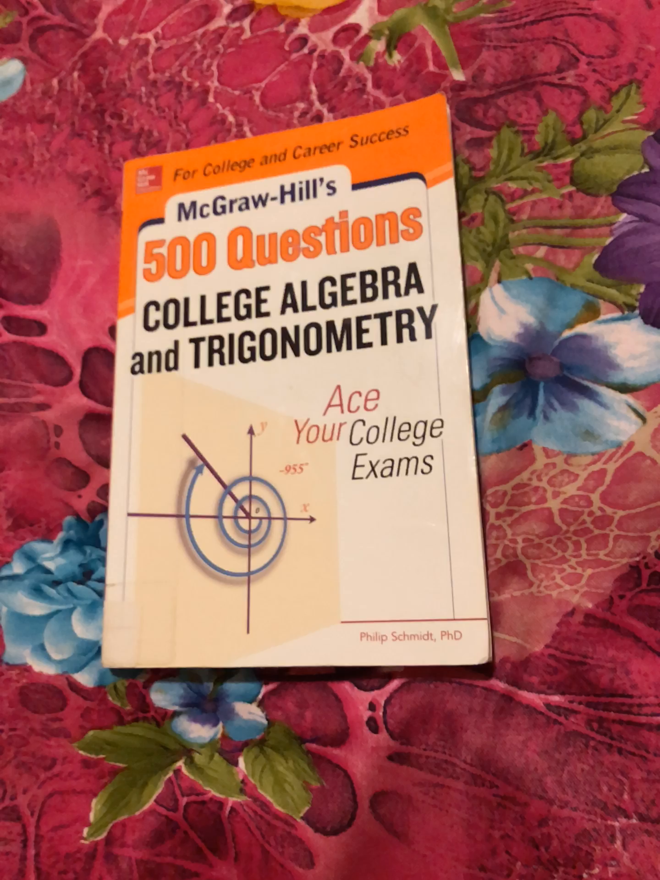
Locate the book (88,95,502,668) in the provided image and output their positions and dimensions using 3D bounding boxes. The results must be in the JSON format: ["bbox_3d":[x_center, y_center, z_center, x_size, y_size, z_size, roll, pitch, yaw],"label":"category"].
[{"bbox_3d":[-0.018,-0.023,0.301,0.156,0.022,0.220,-5,77,14],"label":"book"}]
